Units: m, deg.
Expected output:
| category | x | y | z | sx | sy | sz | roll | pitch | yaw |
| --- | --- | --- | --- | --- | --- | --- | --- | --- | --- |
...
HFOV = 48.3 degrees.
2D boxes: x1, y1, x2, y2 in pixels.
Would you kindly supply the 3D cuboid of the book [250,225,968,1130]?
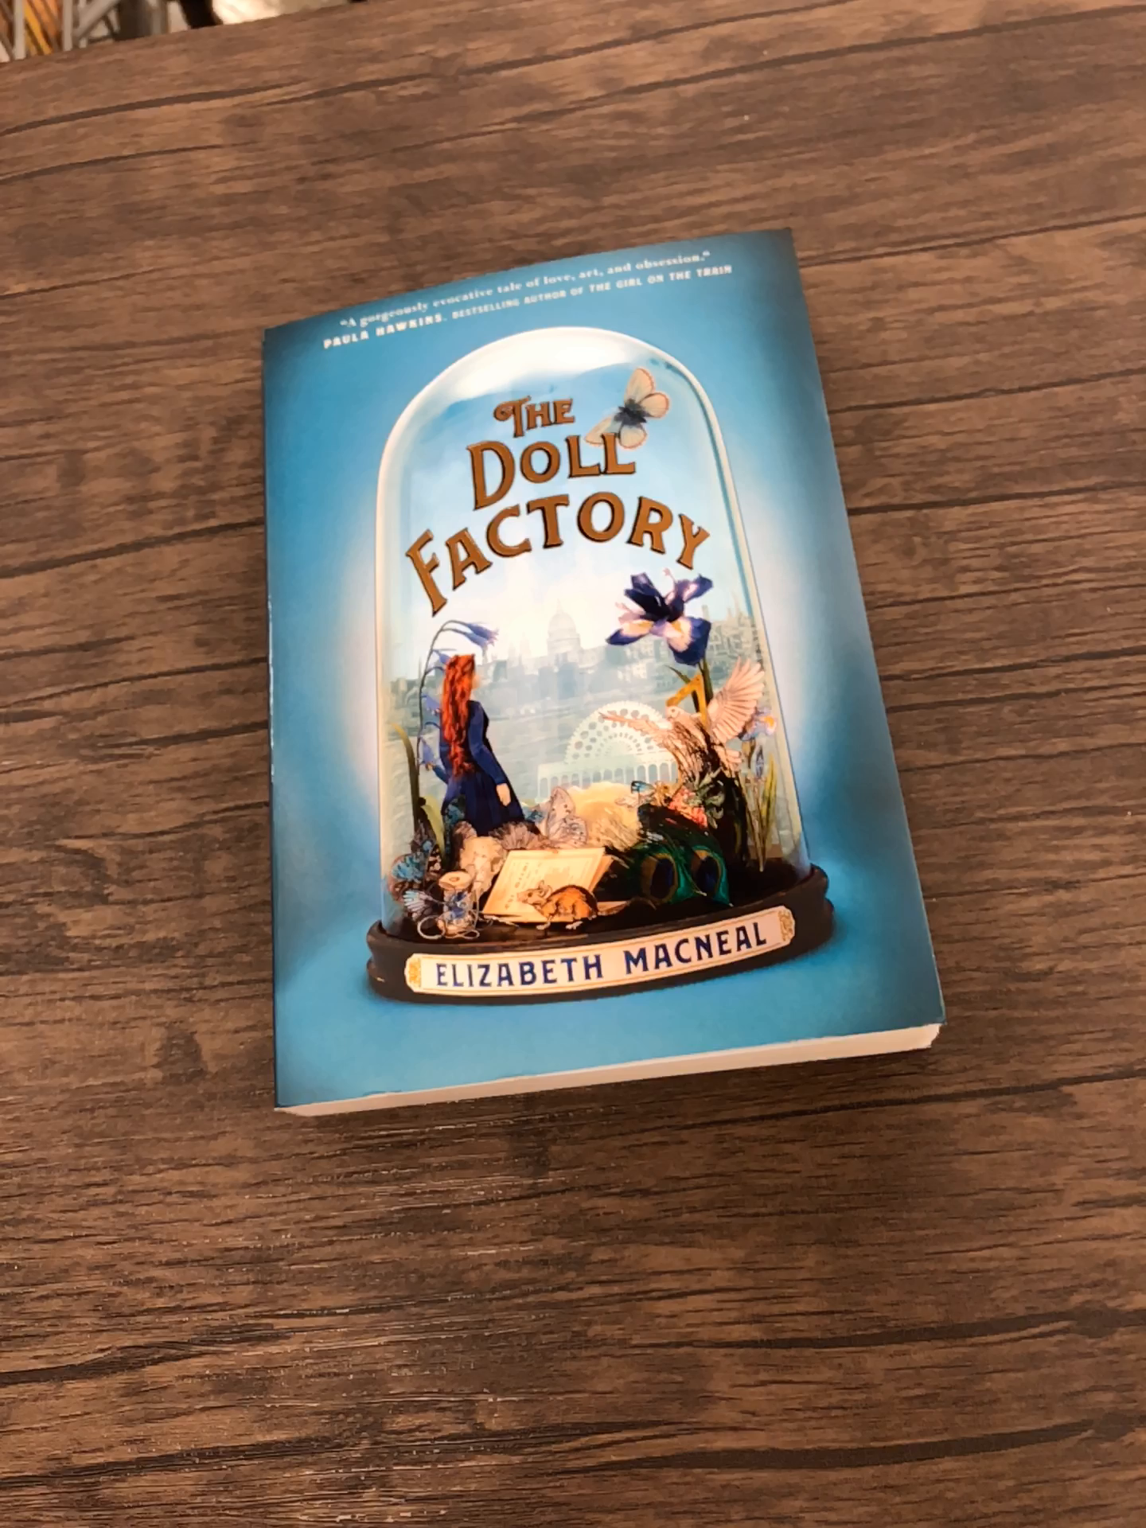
| category | x | y | z | sx | sy | sz | roll | pitch | yaw |
| --- | --- | --- | --- | --- | --- | --- | --- | --- | --- |
| book | -0.001 | -0.029 | 0.350 | 0.160 | 0.040 | 0.230 | -8 | 70 | 3 |
